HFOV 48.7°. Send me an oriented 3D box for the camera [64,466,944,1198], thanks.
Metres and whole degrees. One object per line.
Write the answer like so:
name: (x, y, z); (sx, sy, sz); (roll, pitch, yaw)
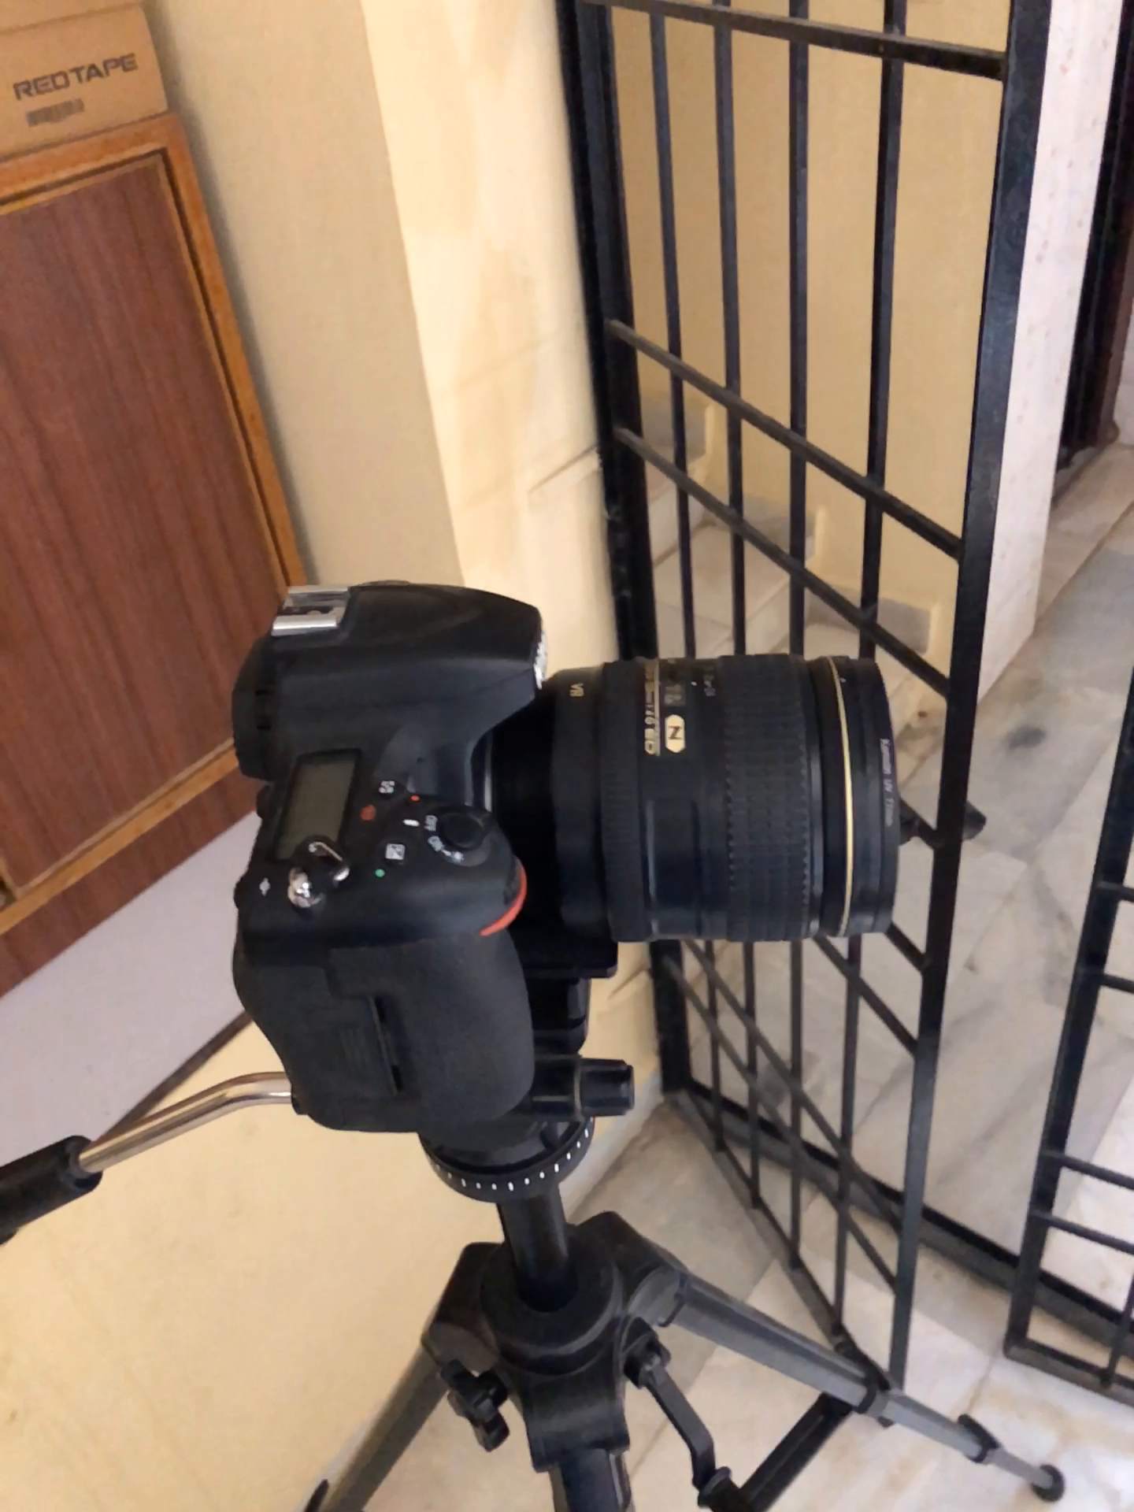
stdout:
camera: (-0.004, 0.013, 0.339); (0.171, 0.105, 0.171); (-2, 37, 7)
